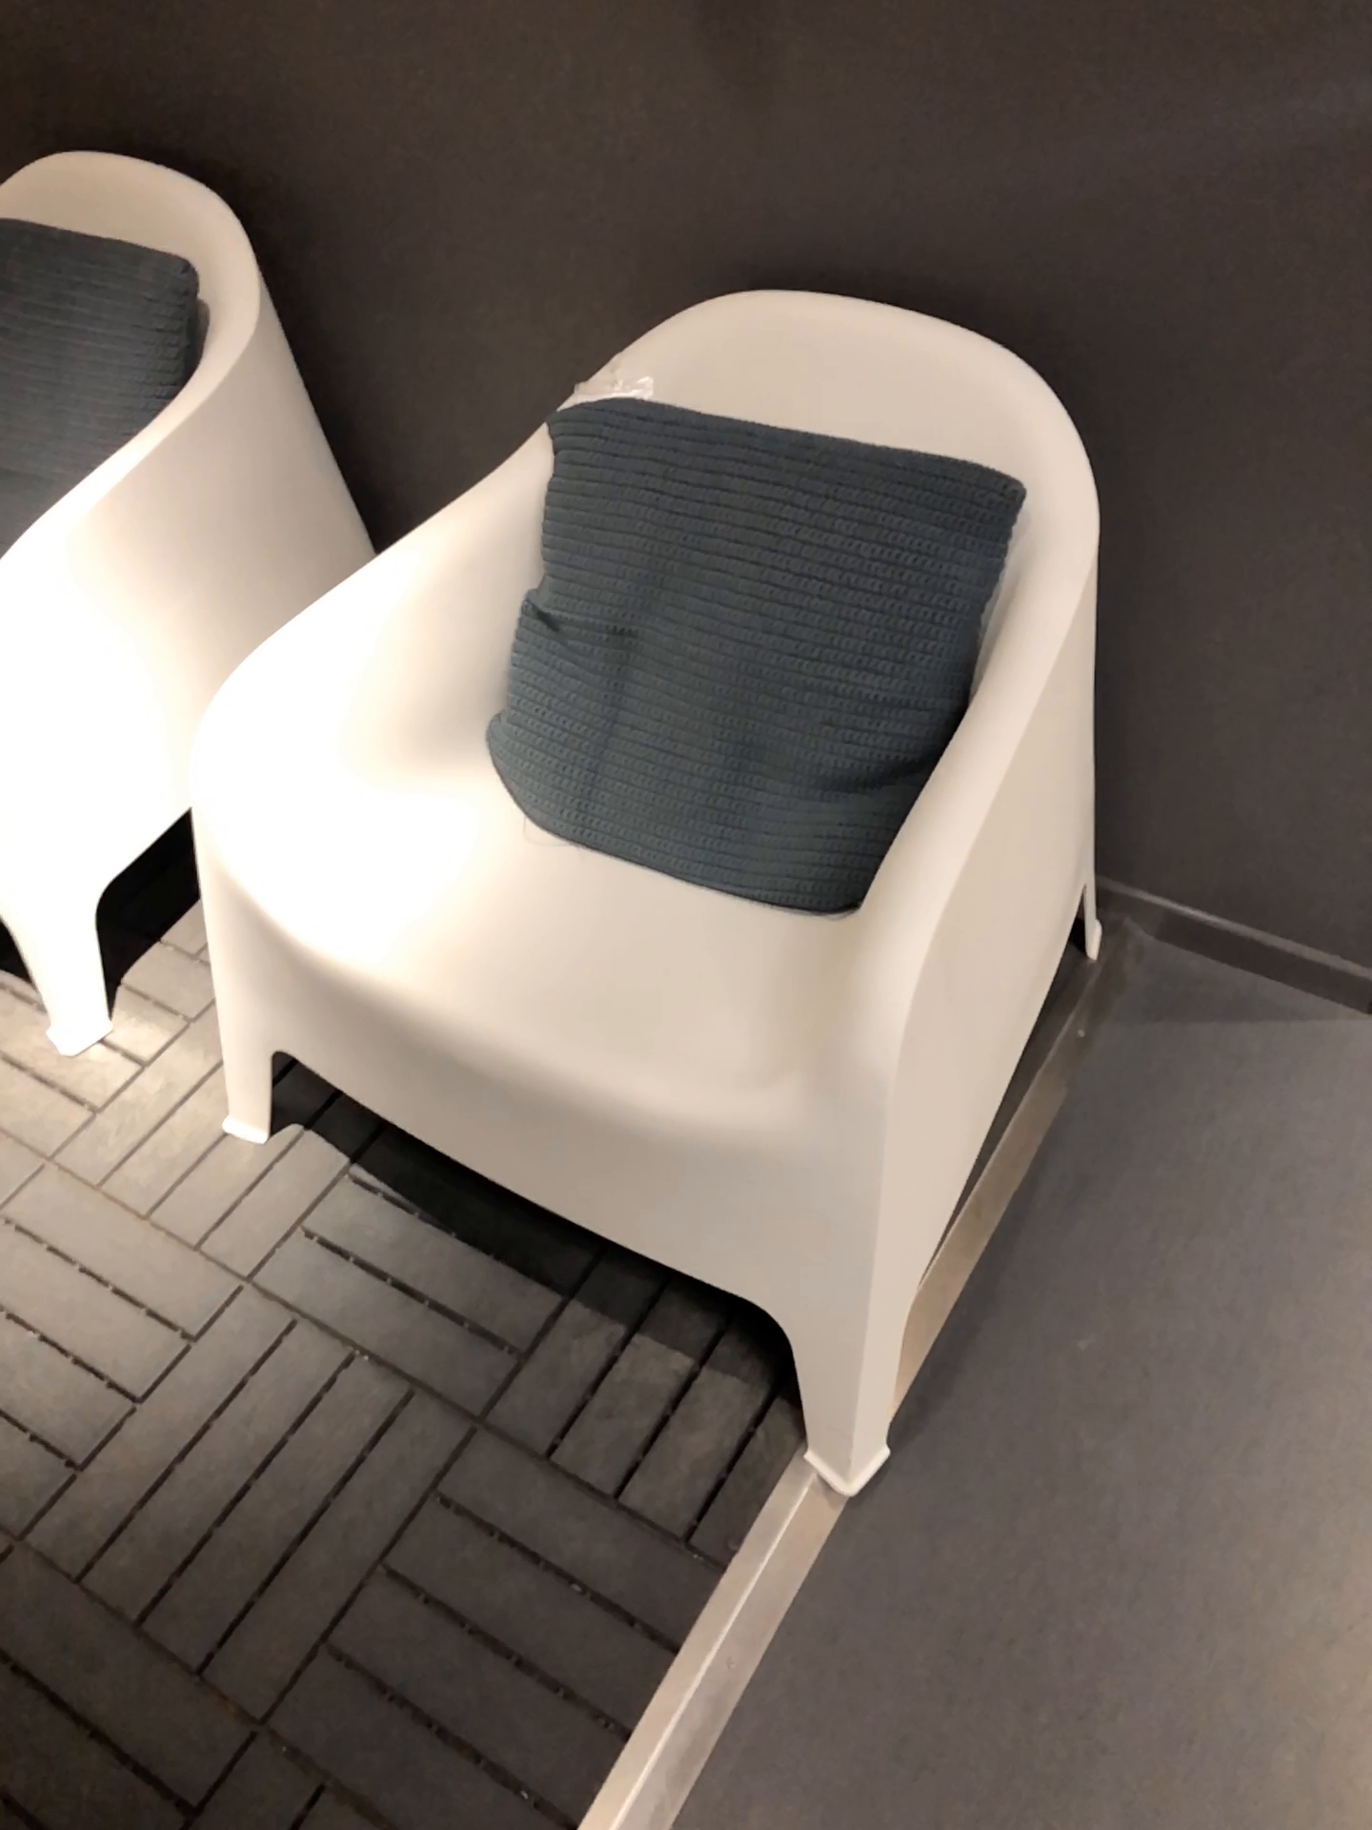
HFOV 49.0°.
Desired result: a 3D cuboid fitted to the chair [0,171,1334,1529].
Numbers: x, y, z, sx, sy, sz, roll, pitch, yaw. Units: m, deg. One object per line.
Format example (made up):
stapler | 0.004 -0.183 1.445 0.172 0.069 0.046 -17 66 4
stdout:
chair | -0.004 -0.117 1.440 0.832 0.765 0.783 21 51 24
